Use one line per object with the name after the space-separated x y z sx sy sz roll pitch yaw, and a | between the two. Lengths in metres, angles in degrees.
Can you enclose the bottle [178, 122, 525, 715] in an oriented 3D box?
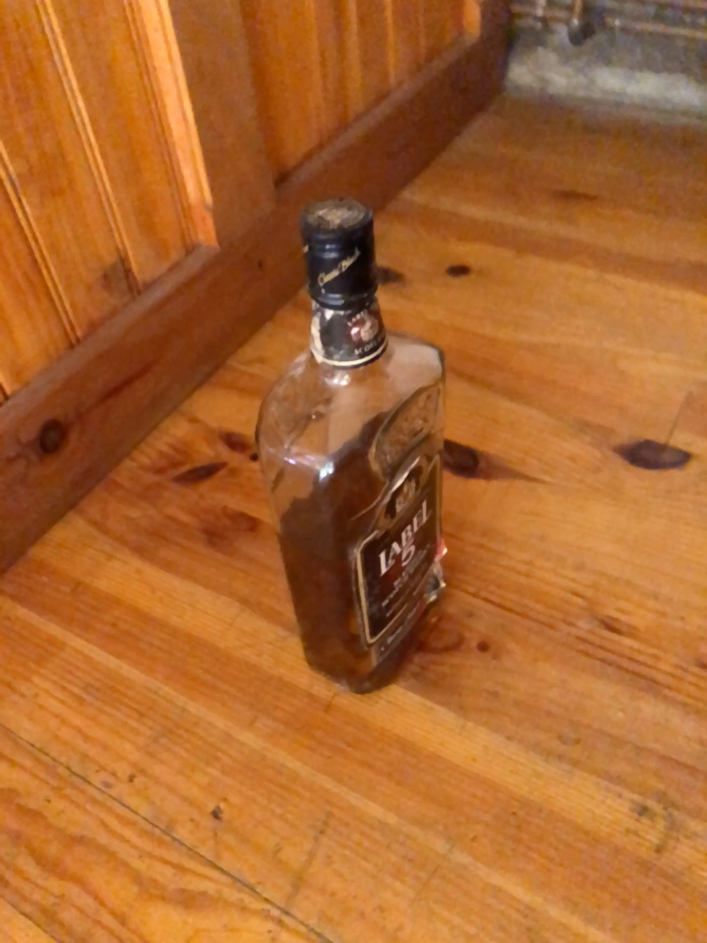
0.012 -0.006 0.410 0.080 0.288 0.121 25 54 26 | bottle
